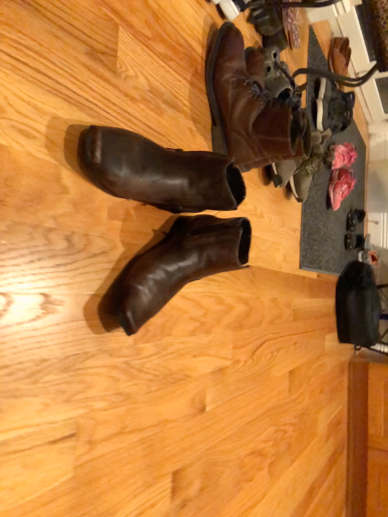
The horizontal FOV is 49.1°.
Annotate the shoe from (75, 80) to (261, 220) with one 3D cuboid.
[{"bbox_3d":[-0.018,-0.141,0.650,0.291,0.142,0.109,11,81,-60],"label":"shoe"}]

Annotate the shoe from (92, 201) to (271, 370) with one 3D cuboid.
[{"bbox_3d":[0.001,0.024,0.696,0.301,0.152,0.109,-51,134,-48],"label":"shoe"}]
